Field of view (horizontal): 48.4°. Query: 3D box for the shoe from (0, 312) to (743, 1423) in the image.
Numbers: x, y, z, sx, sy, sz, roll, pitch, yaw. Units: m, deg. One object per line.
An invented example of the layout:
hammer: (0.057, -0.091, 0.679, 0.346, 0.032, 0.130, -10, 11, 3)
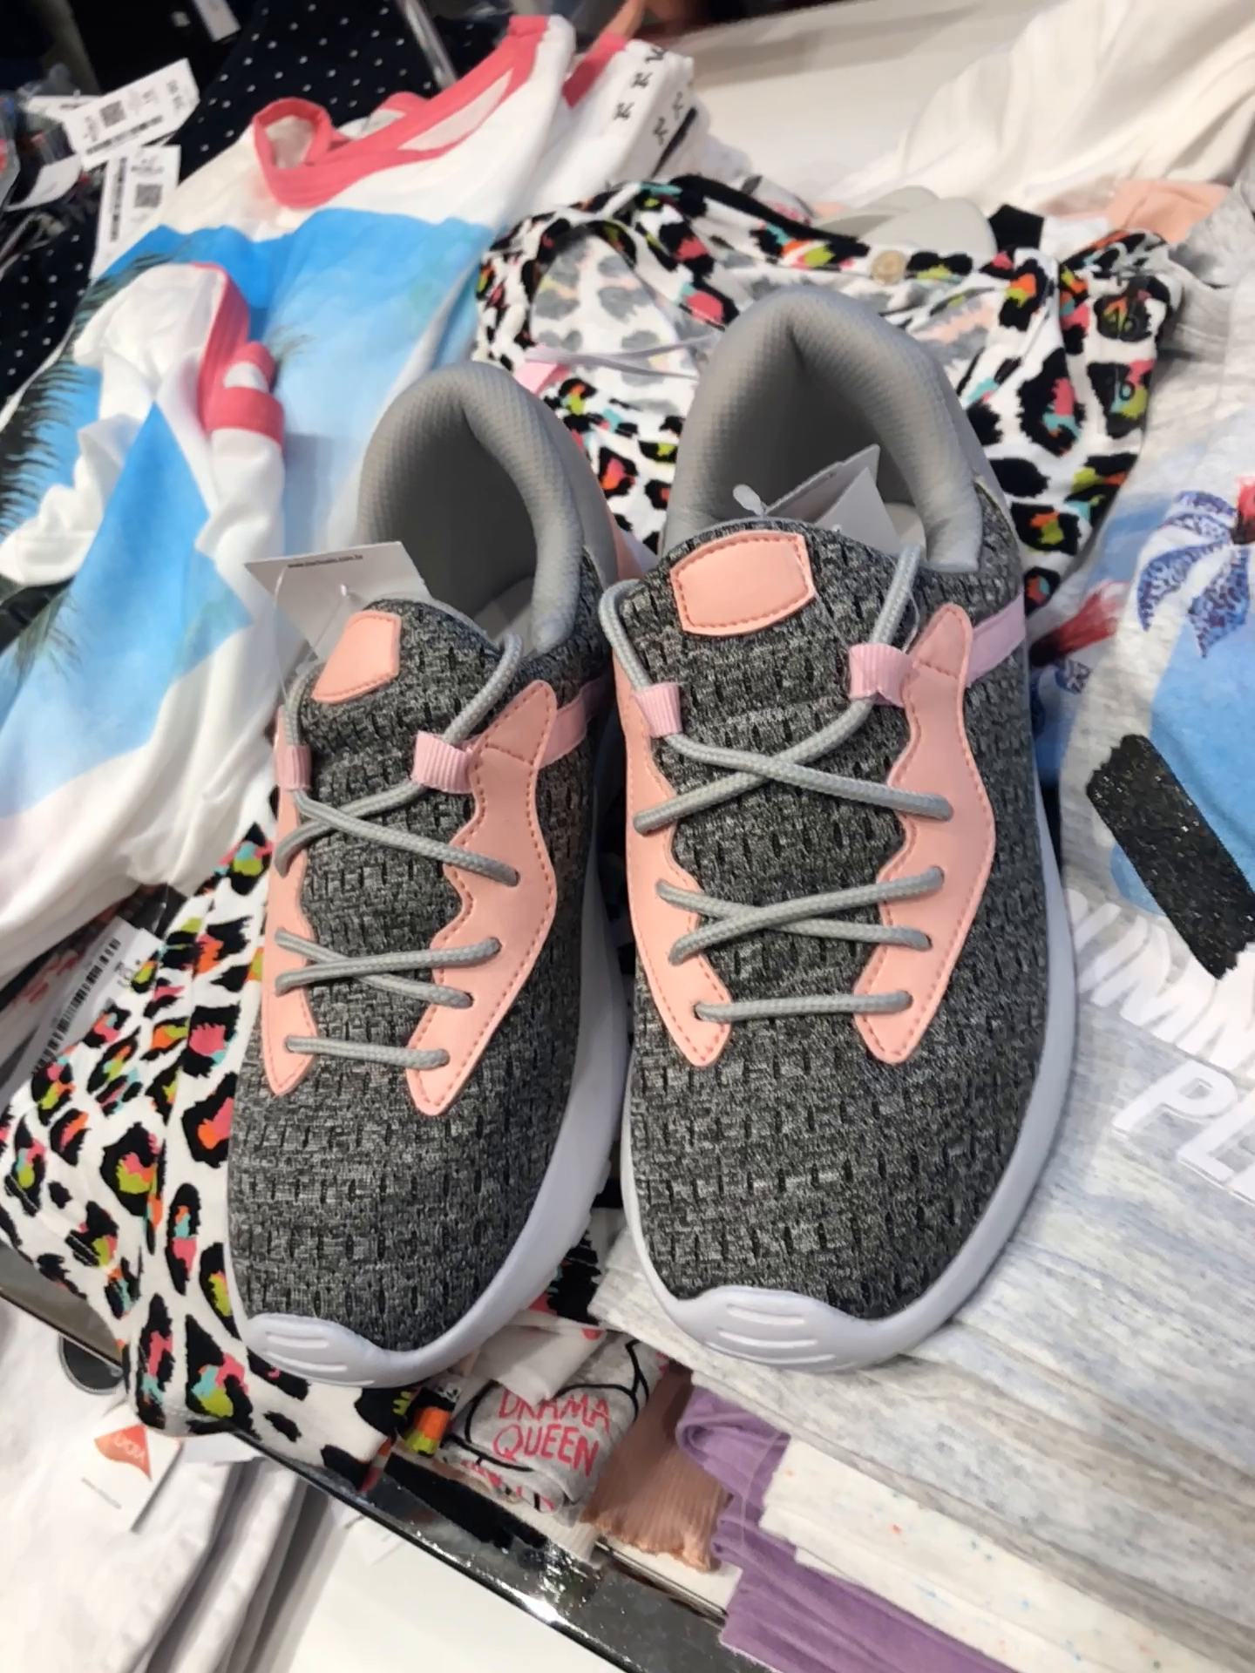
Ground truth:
shoe: (-0.050, 0.004, 0.323, 0.100, 0.099, 0.221, -3, 59, 24)

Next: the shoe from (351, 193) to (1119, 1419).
shoe: (0.036, -0.007, 0.282, 0.100, 0.099, 0.211, -6, 58, 23)
